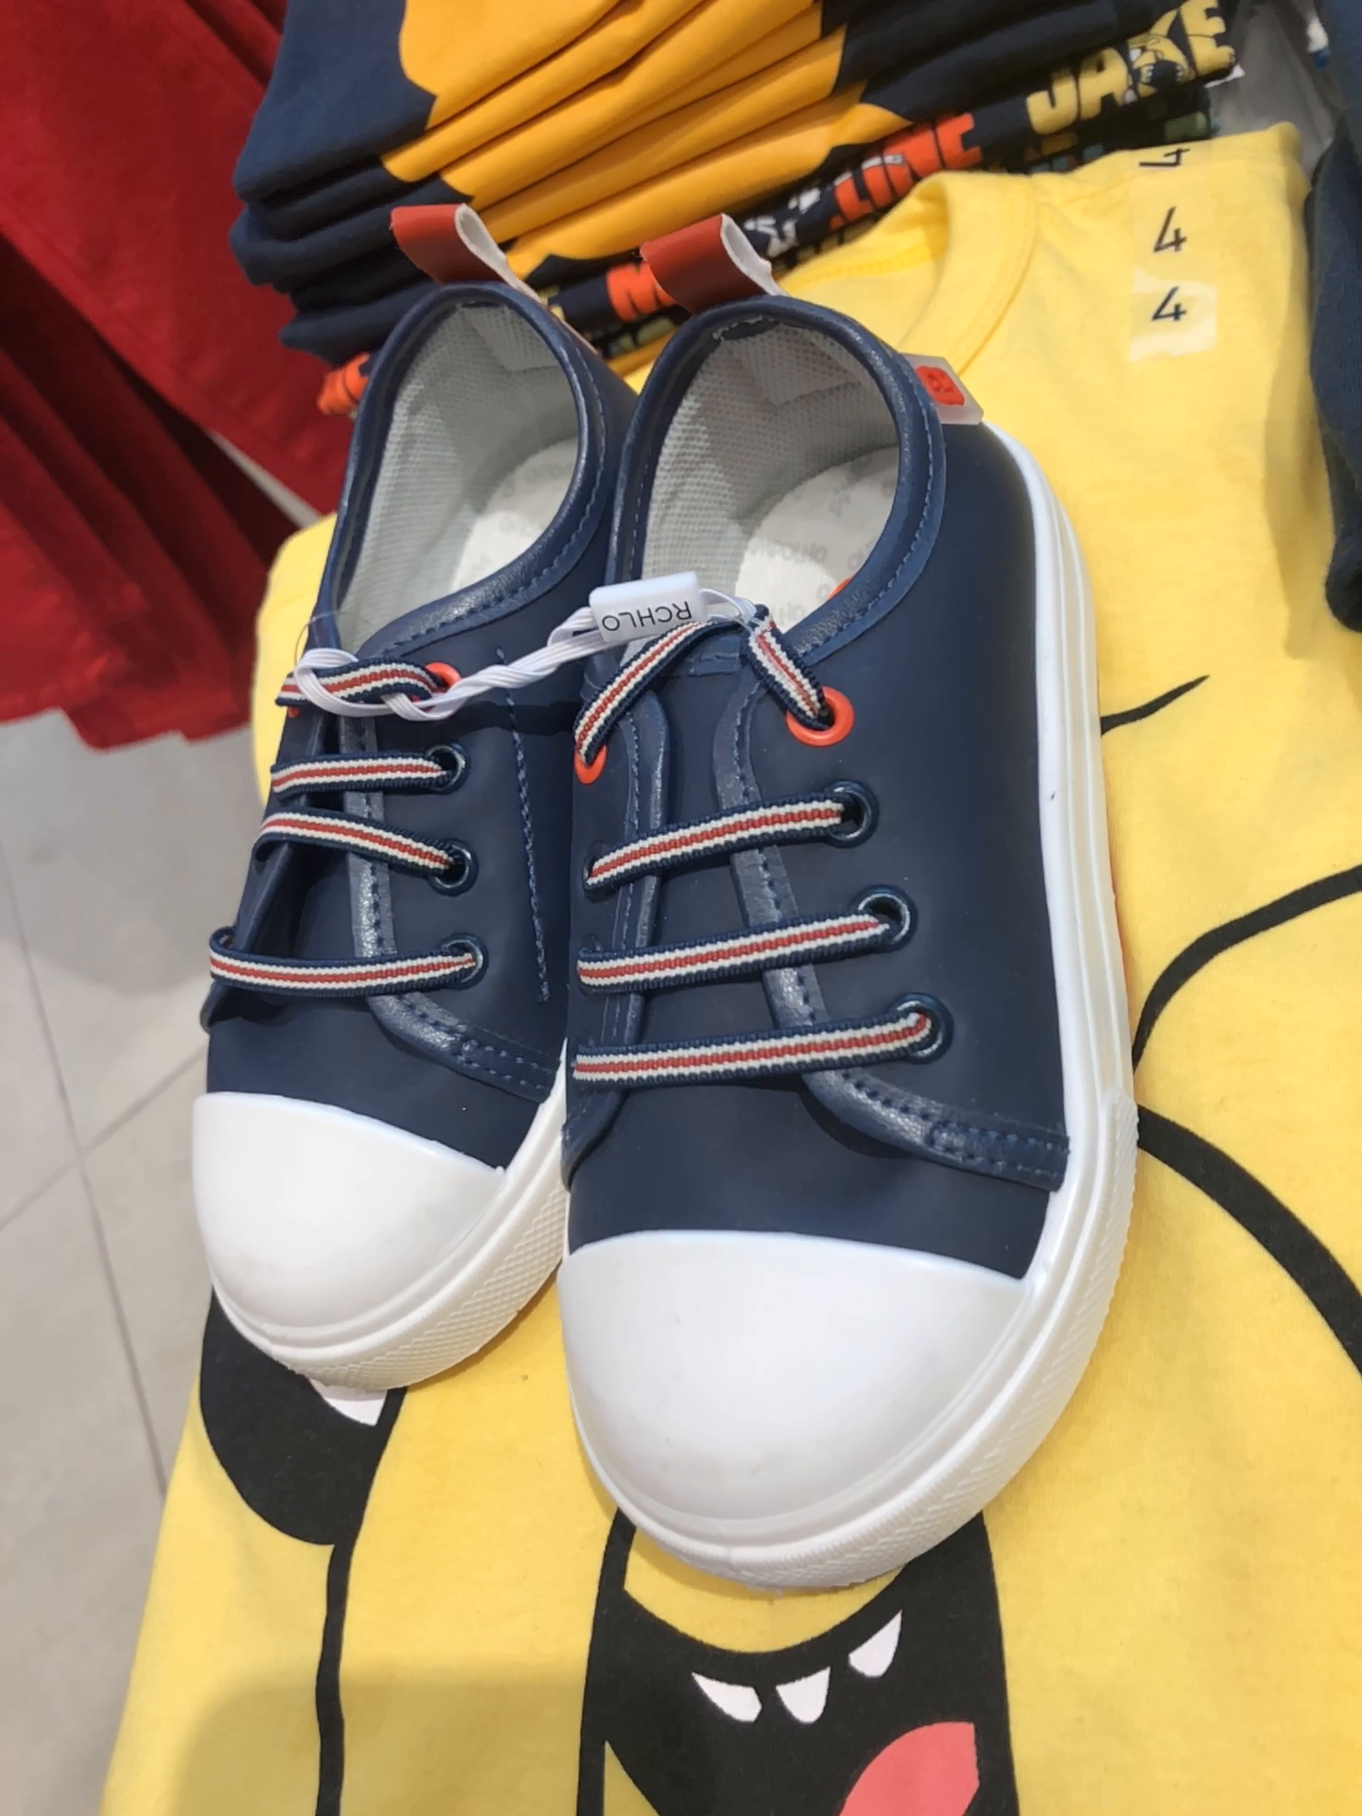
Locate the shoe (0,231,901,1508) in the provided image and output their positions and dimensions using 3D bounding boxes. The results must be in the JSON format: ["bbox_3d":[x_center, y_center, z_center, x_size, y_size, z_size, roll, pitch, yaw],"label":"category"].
[{"bbox_3d":[-0.034,-0.005,0.231,0.080,0.070,0.160,4,72,35],"label":"shoe"}]

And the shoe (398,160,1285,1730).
[{"bbox_3d":[0.030,0.004,0.204,0.080,0.070,0.170,-6,67,30],"label":"shoe"}]
